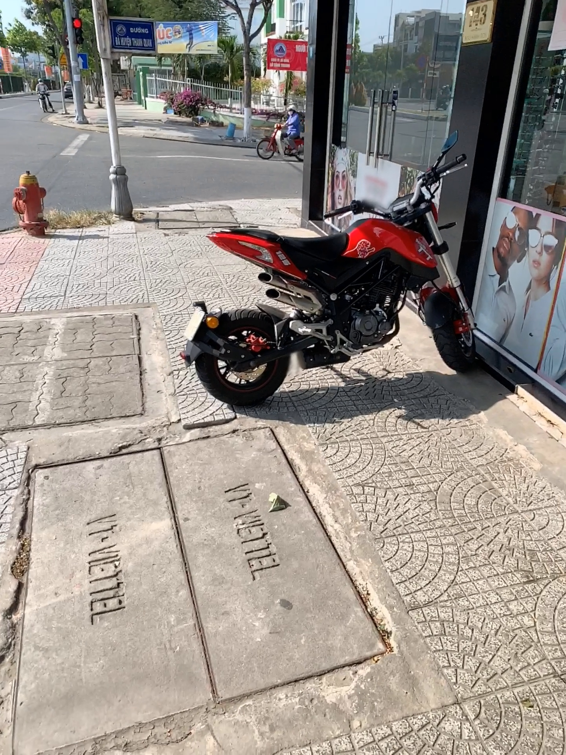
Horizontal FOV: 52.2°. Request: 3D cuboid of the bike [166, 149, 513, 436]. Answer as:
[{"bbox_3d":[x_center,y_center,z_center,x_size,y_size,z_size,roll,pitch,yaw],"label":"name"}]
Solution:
[{"bbox_3d":[0.382,-0.687,3.509,2.123,1.216,0.834,-15,30,-31],"label":"bike"}]
